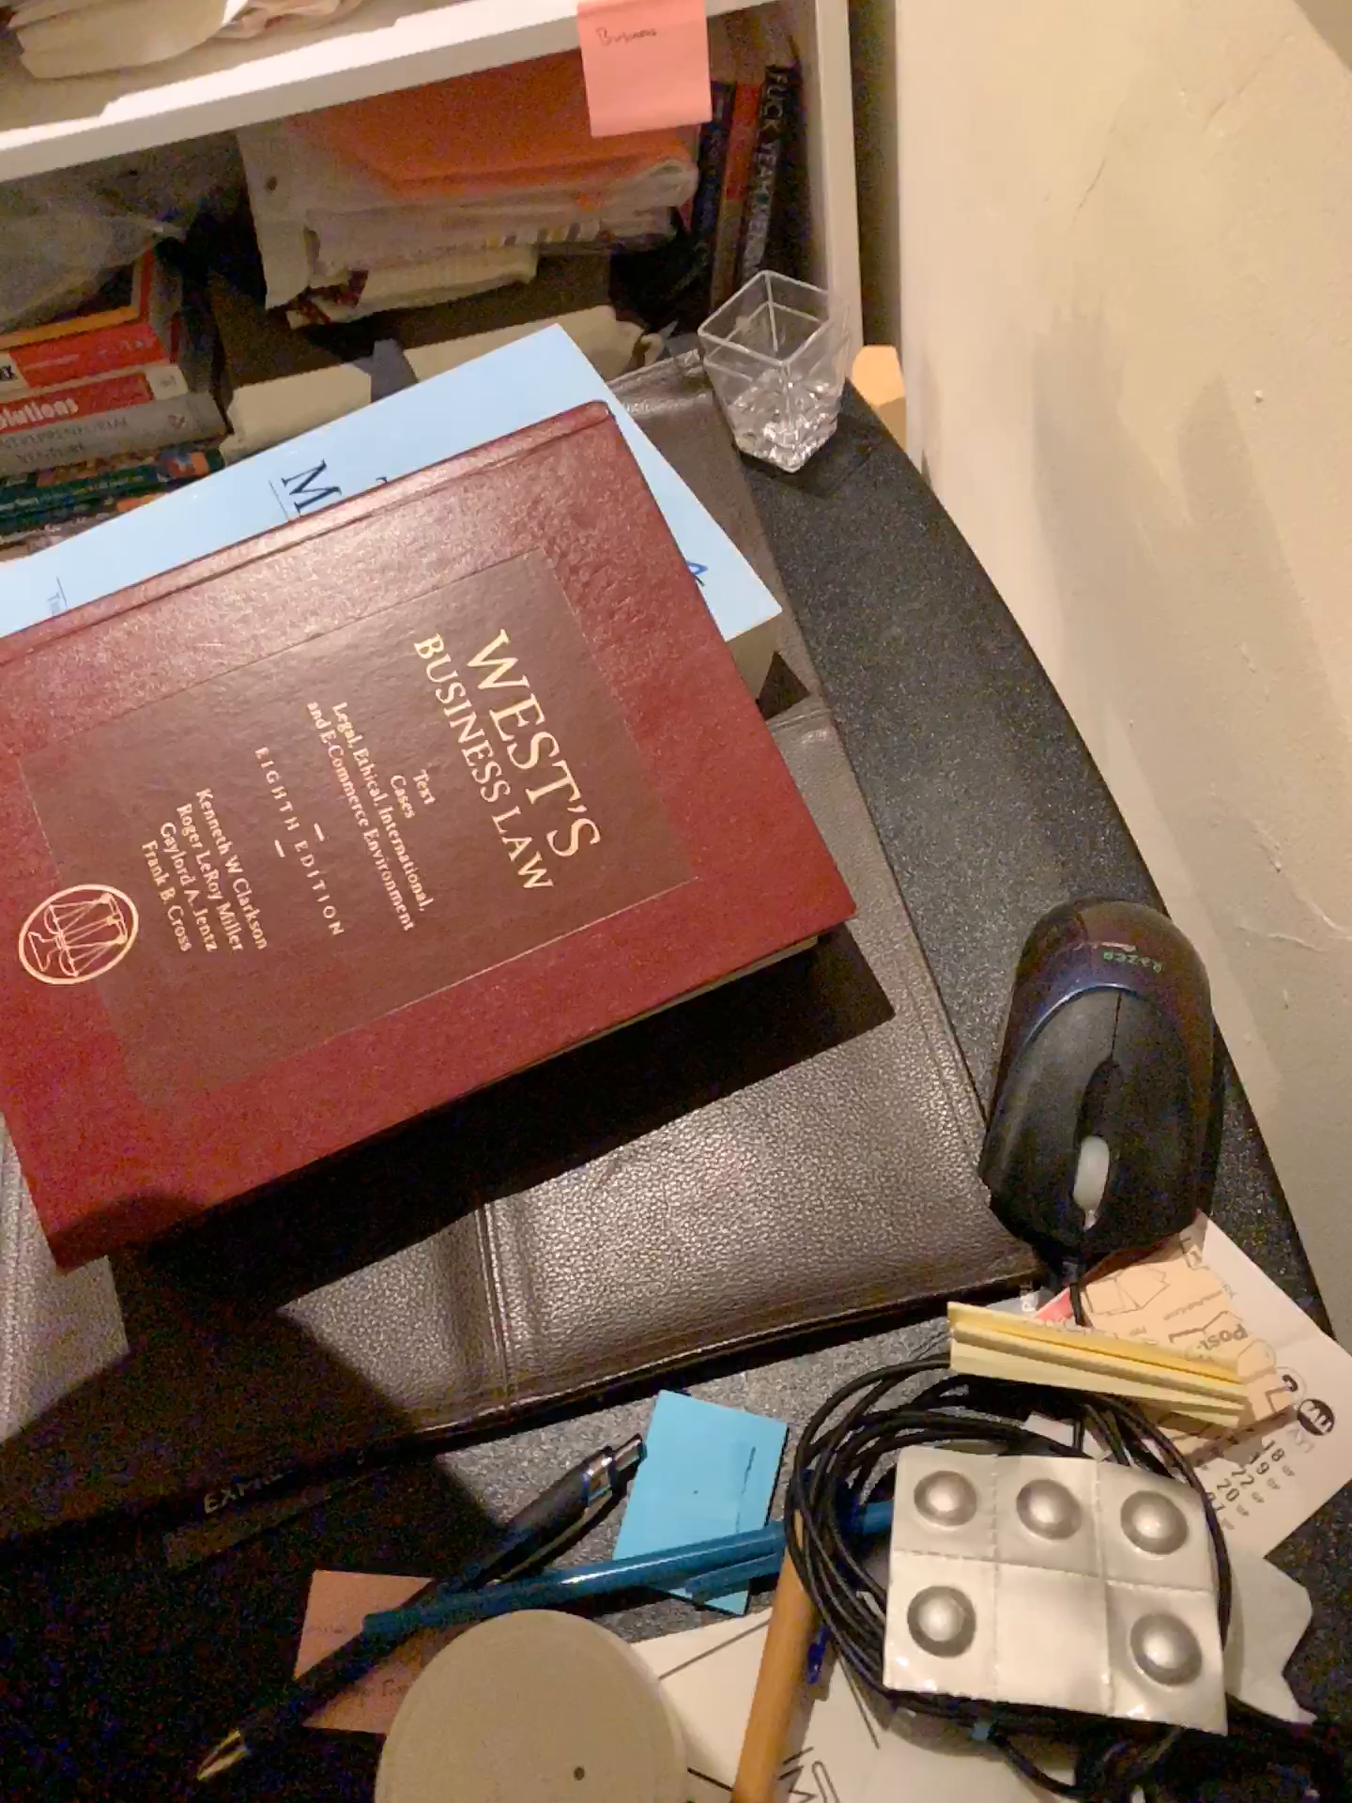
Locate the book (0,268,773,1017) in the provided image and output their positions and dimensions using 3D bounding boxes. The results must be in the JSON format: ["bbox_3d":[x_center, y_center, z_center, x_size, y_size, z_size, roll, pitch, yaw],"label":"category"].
[{"bbox_3d":[-0.134,-0.114,0.542,0.270,0.070,0.221,-24,56,-6],"label":"book"}]

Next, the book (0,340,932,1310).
[{"bbox_3d":[-0.090,-0.030,0.448,0.270,0.050,0.210,-25,81,-6],"label":"book"}]
